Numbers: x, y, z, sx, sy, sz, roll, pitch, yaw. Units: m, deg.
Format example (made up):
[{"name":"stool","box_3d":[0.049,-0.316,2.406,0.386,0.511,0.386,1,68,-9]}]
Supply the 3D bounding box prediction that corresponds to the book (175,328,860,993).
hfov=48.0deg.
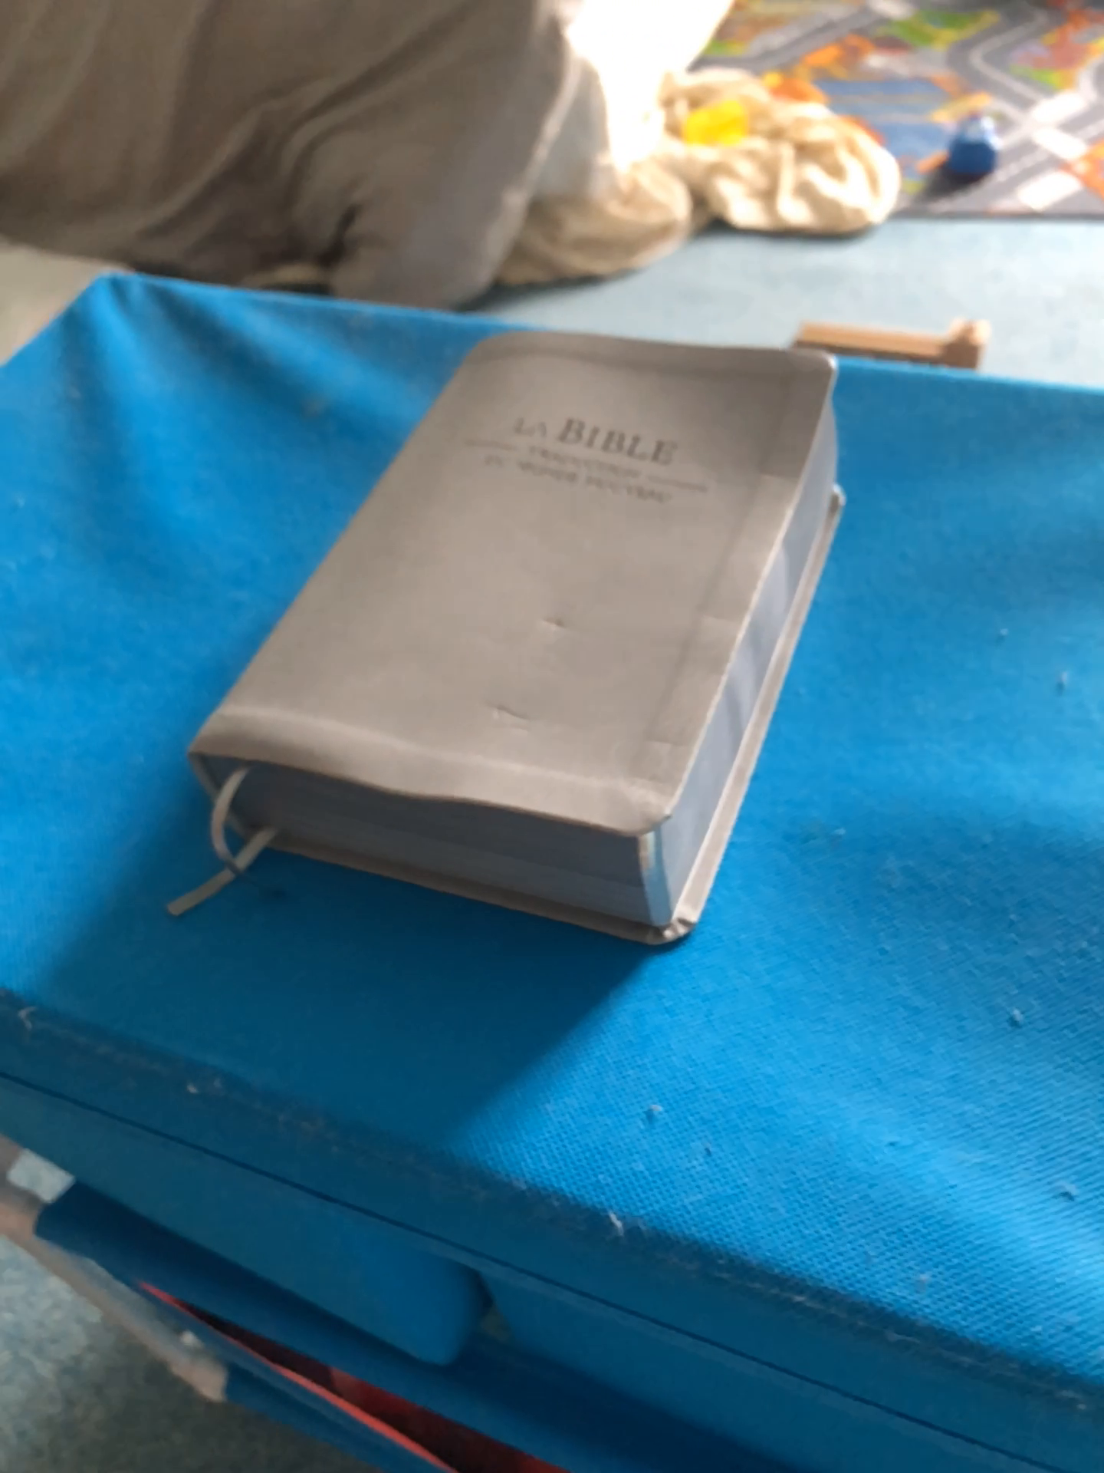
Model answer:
[{"name":"book","box_3d":[0.003,-0.035,0.340,0.121,0.051,0.181,11,53,21]}]
